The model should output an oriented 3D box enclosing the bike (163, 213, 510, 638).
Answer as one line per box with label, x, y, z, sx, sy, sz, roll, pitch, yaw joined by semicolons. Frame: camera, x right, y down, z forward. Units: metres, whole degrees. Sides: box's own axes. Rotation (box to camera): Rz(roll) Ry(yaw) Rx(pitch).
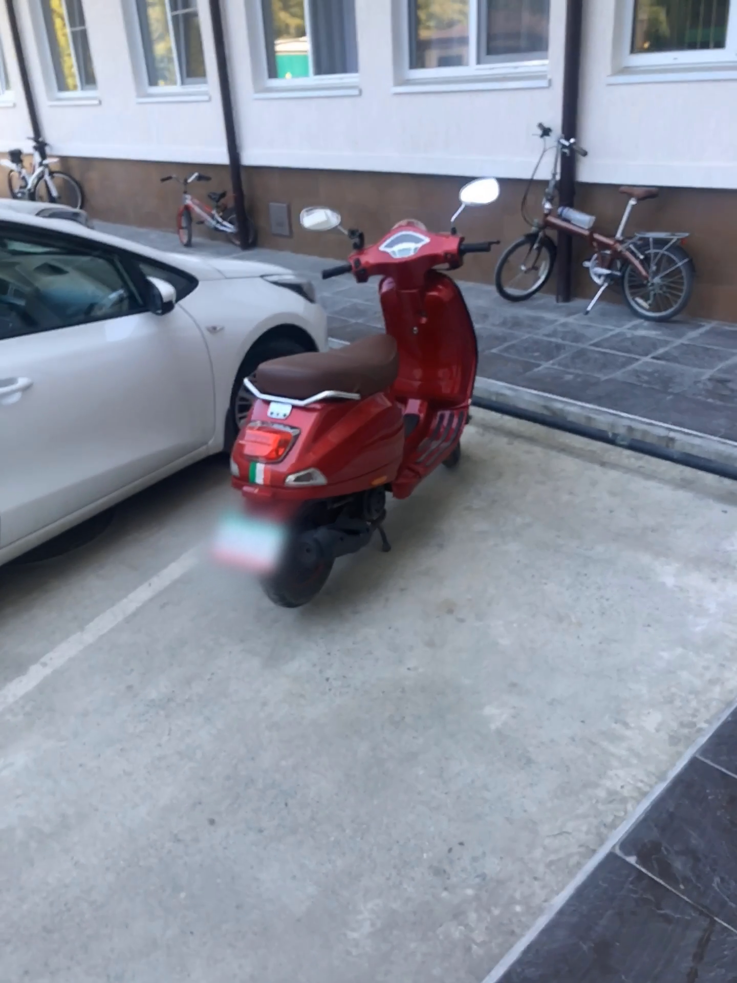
bike;0.023;-0.385;3.008;0.535;0.950;1.599;9;30;24
